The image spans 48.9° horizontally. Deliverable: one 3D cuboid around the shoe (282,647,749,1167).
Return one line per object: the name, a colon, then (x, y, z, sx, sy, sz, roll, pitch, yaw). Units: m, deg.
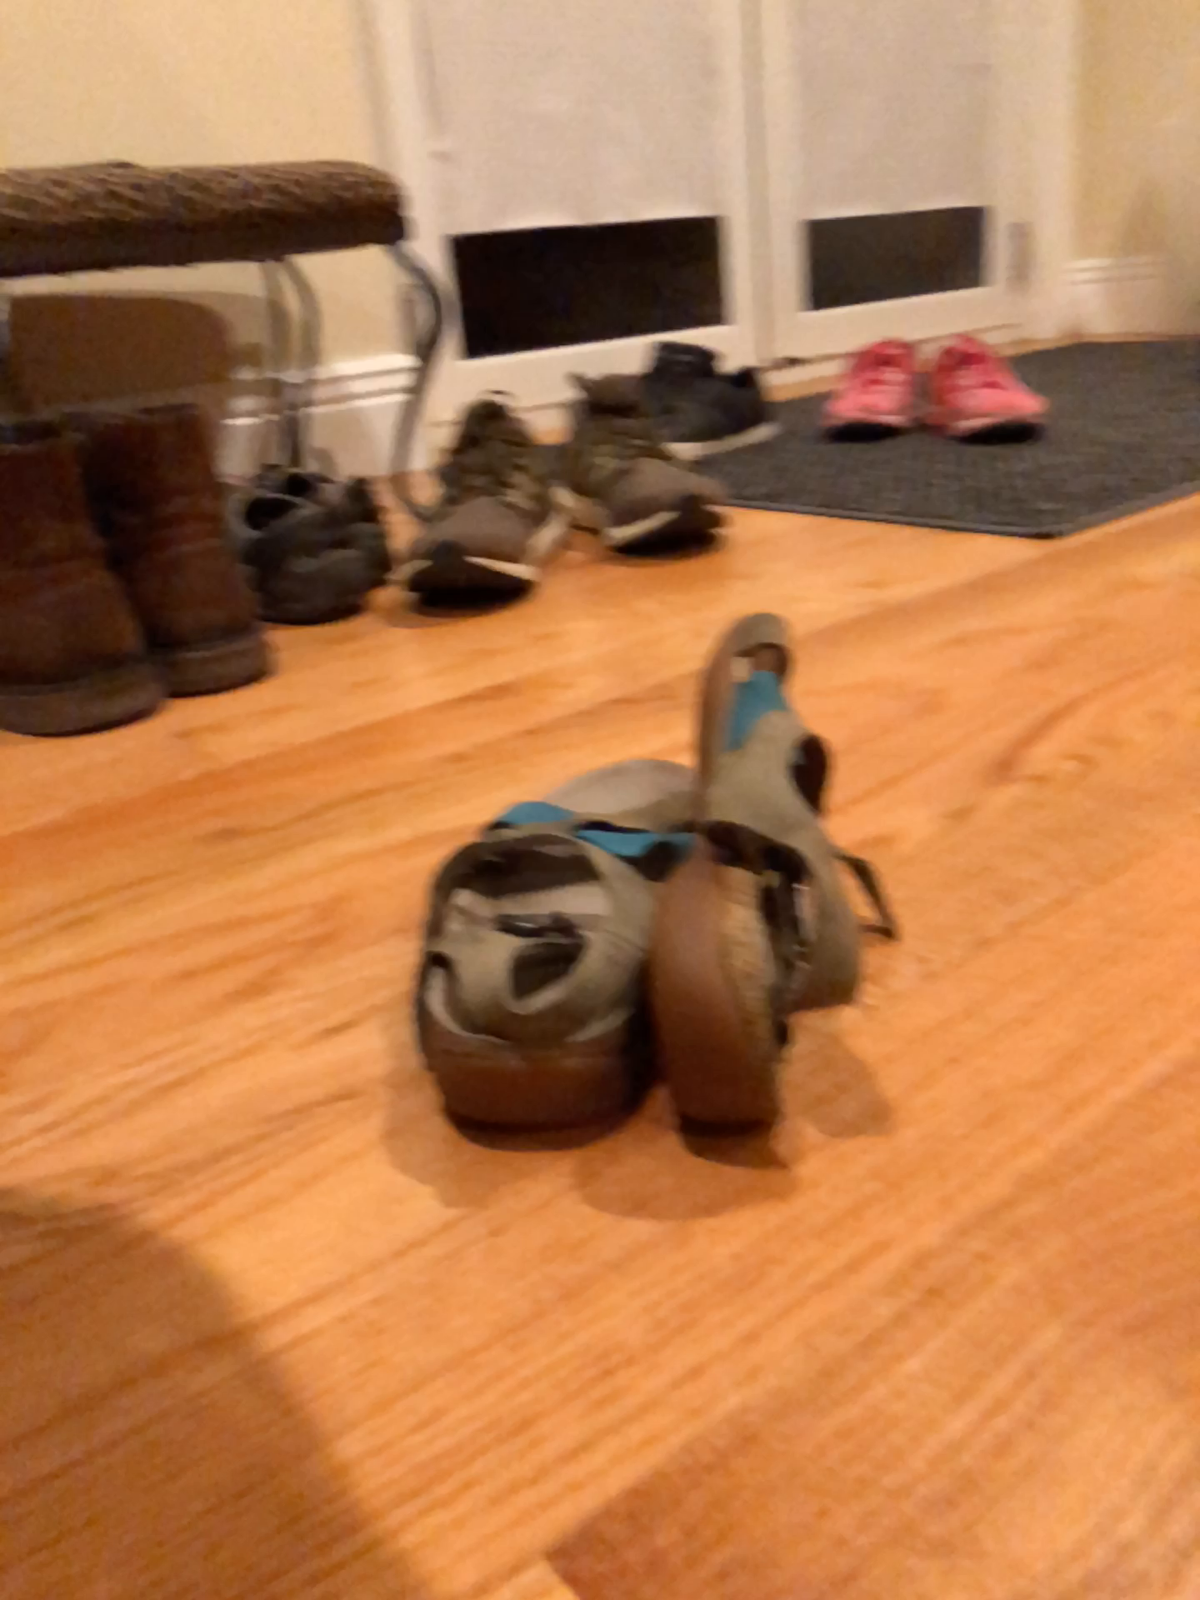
shoe: (-0.009, 0.019, 0.455, 0.104, 0.075, 0.241, -2, 22, 10)

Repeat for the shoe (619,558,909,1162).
shoe: (0.060, -0.001, 0.430, 0.065, 0.104, 0.239, -2, 22, 10)
